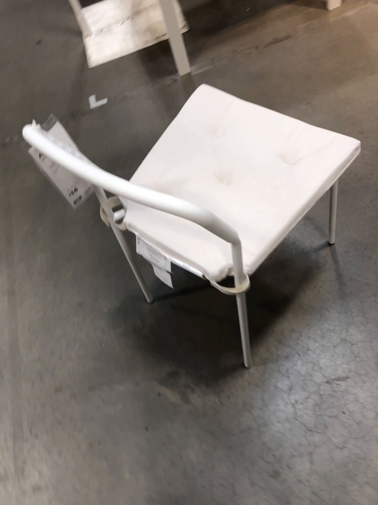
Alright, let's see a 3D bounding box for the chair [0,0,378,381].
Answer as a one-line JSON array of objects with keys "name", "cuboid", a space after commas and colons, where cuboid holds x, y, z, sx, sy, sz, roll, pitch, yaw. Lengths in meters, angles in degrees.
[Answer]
[{"name": "chair", "cuboid": [0.072, -0.146, 0.945, 0.481, 0.738, 0.530, 27, 72, 26]}]
